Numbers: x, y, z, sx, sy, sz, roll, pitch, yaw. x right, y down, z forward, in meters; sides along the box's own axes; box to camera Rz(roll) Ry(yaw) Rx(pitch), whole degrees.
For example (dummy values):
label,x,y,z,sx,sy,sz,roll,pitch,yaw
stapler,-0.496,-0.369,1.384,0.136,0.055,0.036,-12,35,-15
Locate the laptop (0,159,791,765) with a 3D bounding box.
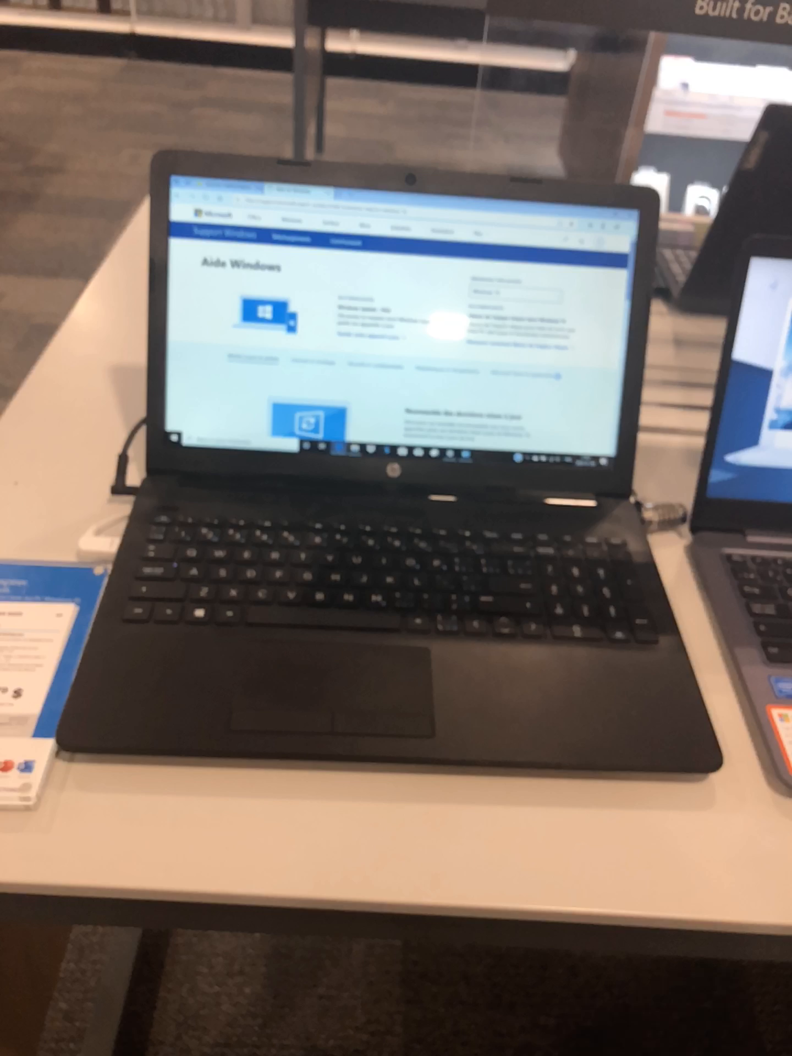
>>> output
label,x,y,z,sx,sy,sz,roll,pitch,yaw
laptop,0.003,-0.067,0.556,0.356,0.195,0.361,3,39,-2
